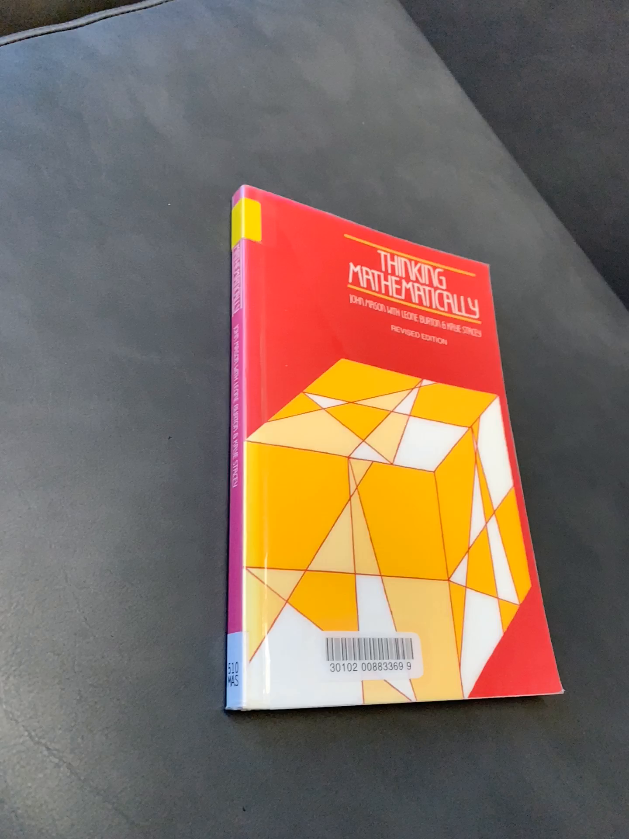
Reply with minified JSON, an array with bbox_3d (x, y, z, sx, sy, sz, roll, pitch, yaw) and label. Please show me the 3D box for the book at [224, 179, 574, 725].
[{"bbox_3d":[0.037,0.008,0.302,0.157,0.016,0.232,10,64,-27],"label":"book"}]
